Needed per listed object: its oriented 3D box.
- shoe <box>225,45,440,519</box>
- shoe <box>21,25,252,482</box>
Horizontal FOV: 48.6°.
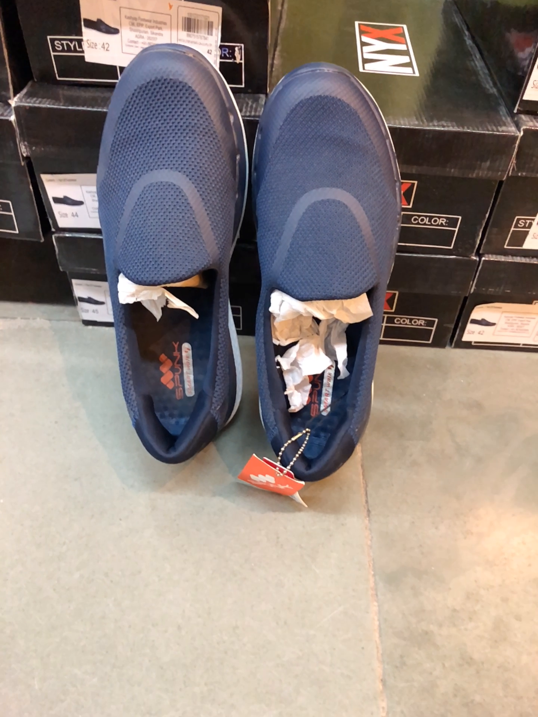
[{"bbox_3d":[0.032,-0.043,0.387,0.107,0.272,0.099,0,19,1],"label":"shoe"},{"bbox_3d":[-0.072,-0.064,0.408,0.109,0.273,0.110,0,20,2],"label":"shoe"}]
